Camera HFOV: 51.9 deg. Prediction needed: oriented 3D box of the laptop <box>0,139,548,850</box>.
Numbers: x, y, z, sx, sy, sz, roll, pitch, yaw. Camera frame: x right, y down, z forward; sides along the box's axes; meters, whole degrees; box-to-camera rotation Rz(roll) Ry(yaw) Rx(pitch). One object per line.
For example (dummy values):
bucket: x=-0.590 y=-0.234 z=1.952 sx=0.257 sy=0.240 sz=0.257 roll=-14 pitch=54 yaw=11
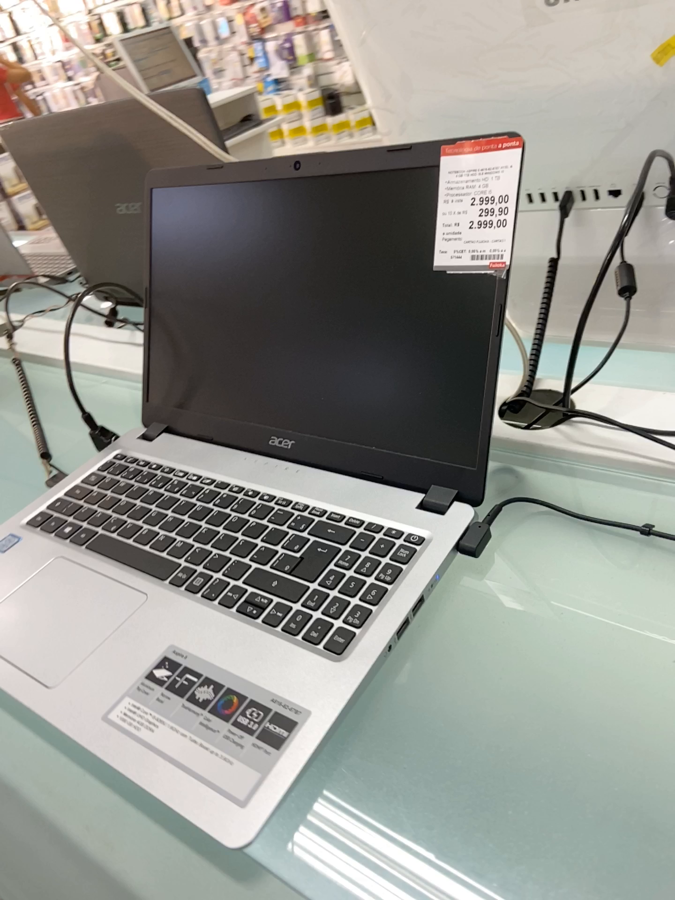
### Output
laptop: x=-0.111 y=-0.034 z=0.475 sx=0.366 sy=0.204 sz=0.365 roll=11 pitch=41 yaw=36
